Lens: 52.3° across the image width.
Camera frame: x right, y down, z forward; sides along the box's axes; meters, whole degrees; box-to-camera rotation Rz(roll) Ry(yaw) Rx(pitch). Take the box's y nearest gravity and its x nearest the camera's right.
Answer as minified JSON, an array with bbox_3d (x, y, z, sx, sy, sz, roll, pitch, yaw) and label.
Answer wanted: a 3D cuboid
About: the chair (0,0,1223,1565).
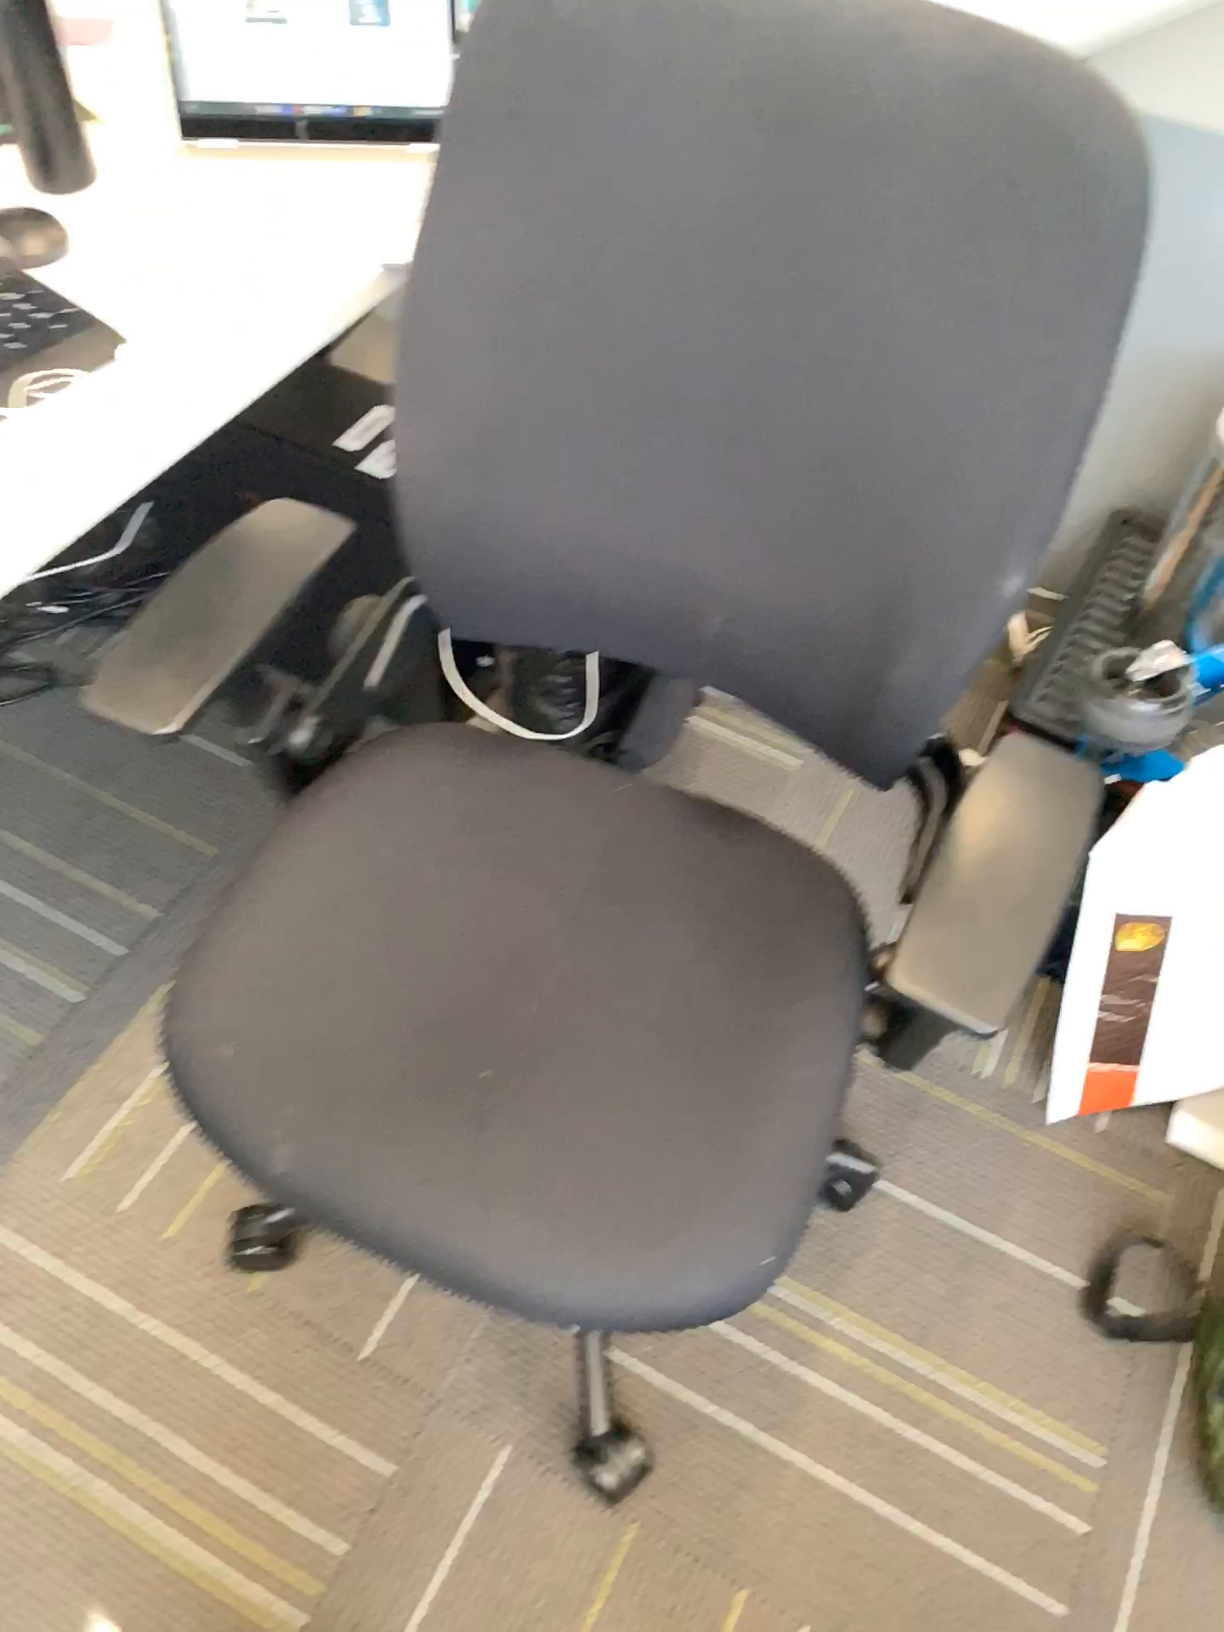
[{"bbox_3d":[0.002,0.111,1.139,0.581,1.363,0.632,25,55,15],"label":"chair"}]
